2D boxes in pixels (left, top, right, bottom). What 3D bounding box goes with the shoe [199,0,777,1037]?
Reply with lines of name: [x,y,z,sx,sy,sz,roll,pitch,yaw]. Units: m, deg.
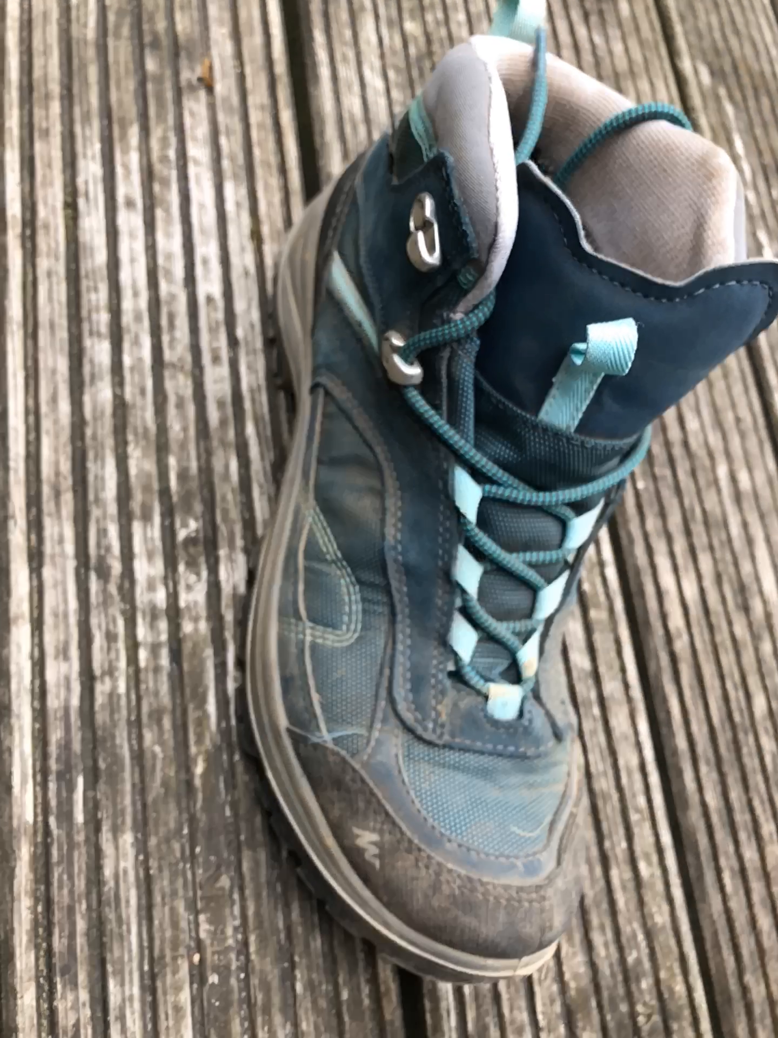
shoe: [0.025,-0.010,0.257,0.120,0.119,0.280,3,71,-28]
